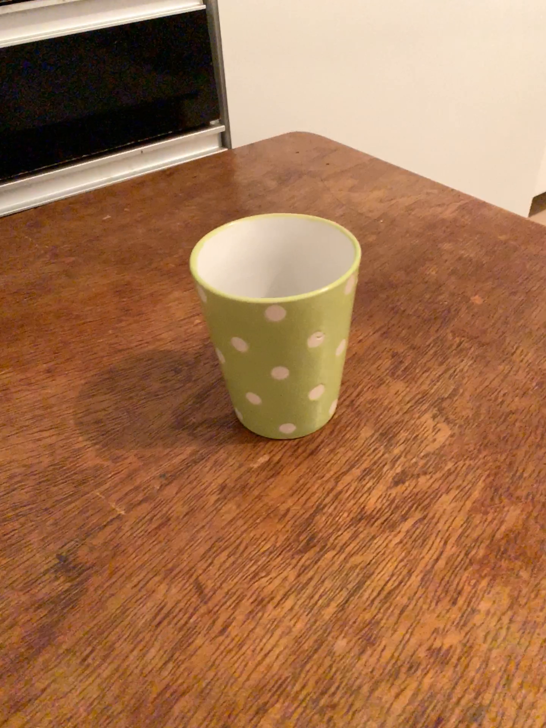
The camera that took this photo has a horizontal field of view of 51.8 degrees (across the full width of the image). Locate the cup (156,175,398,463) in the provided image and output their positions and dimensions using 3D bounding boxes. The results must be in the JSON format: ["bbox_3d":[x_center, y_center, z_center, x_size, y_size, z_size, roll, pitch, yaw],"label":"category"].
[{"bbox_3d":[0.012,-0.032,0.316,0.090,0.099,0.121,9,42,16],"label":"cup"}]
